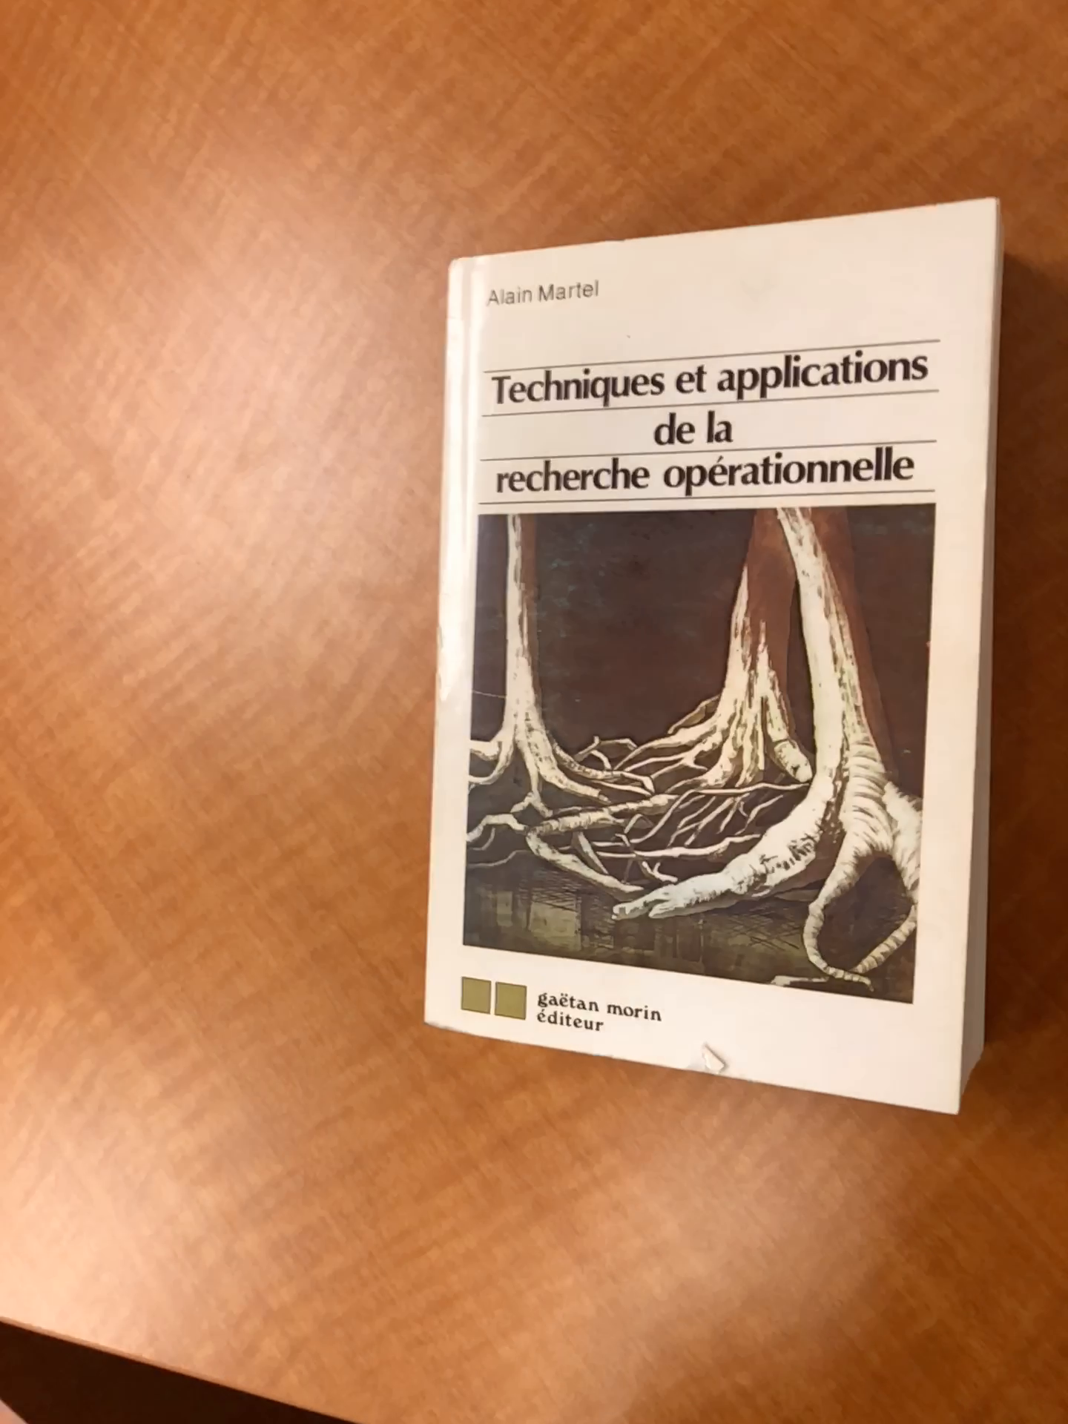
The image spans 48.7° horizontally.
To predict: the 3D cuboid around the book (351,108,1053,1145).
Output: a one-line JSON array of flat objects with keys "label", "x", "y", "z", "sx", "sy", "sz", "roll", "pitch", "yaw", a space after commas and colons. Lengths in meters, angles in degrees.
[{"label": "book", "x": 0.045, "y": -0.021, "z": 0.326, "sx": 0.170, "sy": 0.070, "sz": 0.230, "roll": 2, "pitch": 90, "yaw": 22}]
